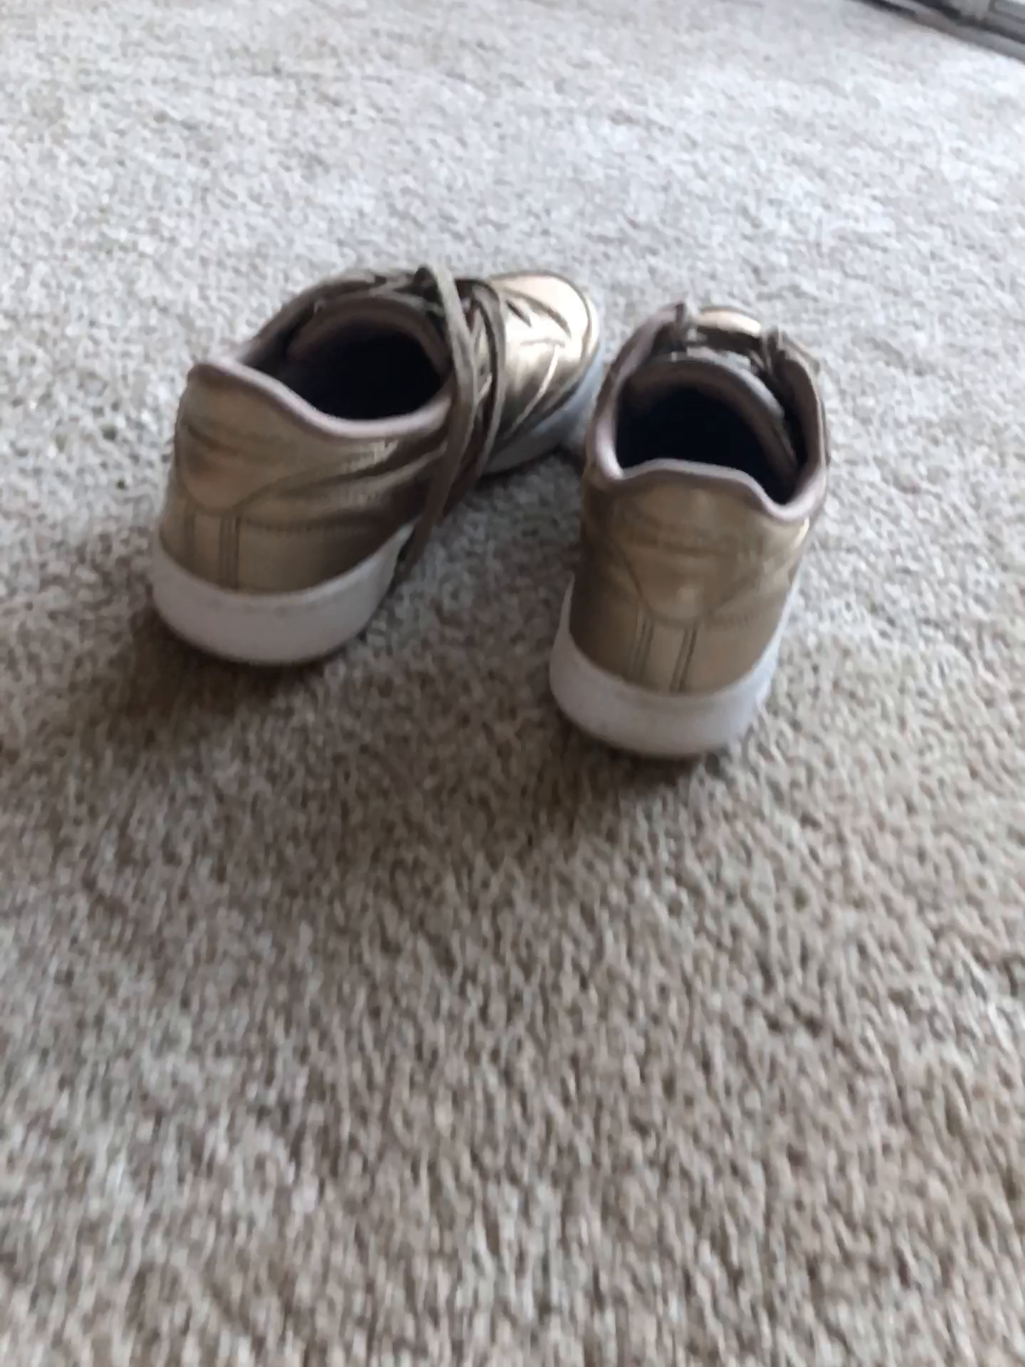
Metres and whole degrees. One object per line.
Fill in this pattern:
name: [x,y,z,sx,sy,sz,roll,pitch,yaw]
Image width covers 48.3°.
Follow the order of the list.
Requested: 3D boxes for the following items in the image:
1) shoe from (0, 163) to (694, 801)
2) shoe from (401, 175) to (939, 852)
shoe: [-0.038,-0.095,0.406,0.110,0.070,0.281,23,44,12]
shoe: [0.071,-0.084,0.396,0.110,0.070,0.281,19,44,8]
